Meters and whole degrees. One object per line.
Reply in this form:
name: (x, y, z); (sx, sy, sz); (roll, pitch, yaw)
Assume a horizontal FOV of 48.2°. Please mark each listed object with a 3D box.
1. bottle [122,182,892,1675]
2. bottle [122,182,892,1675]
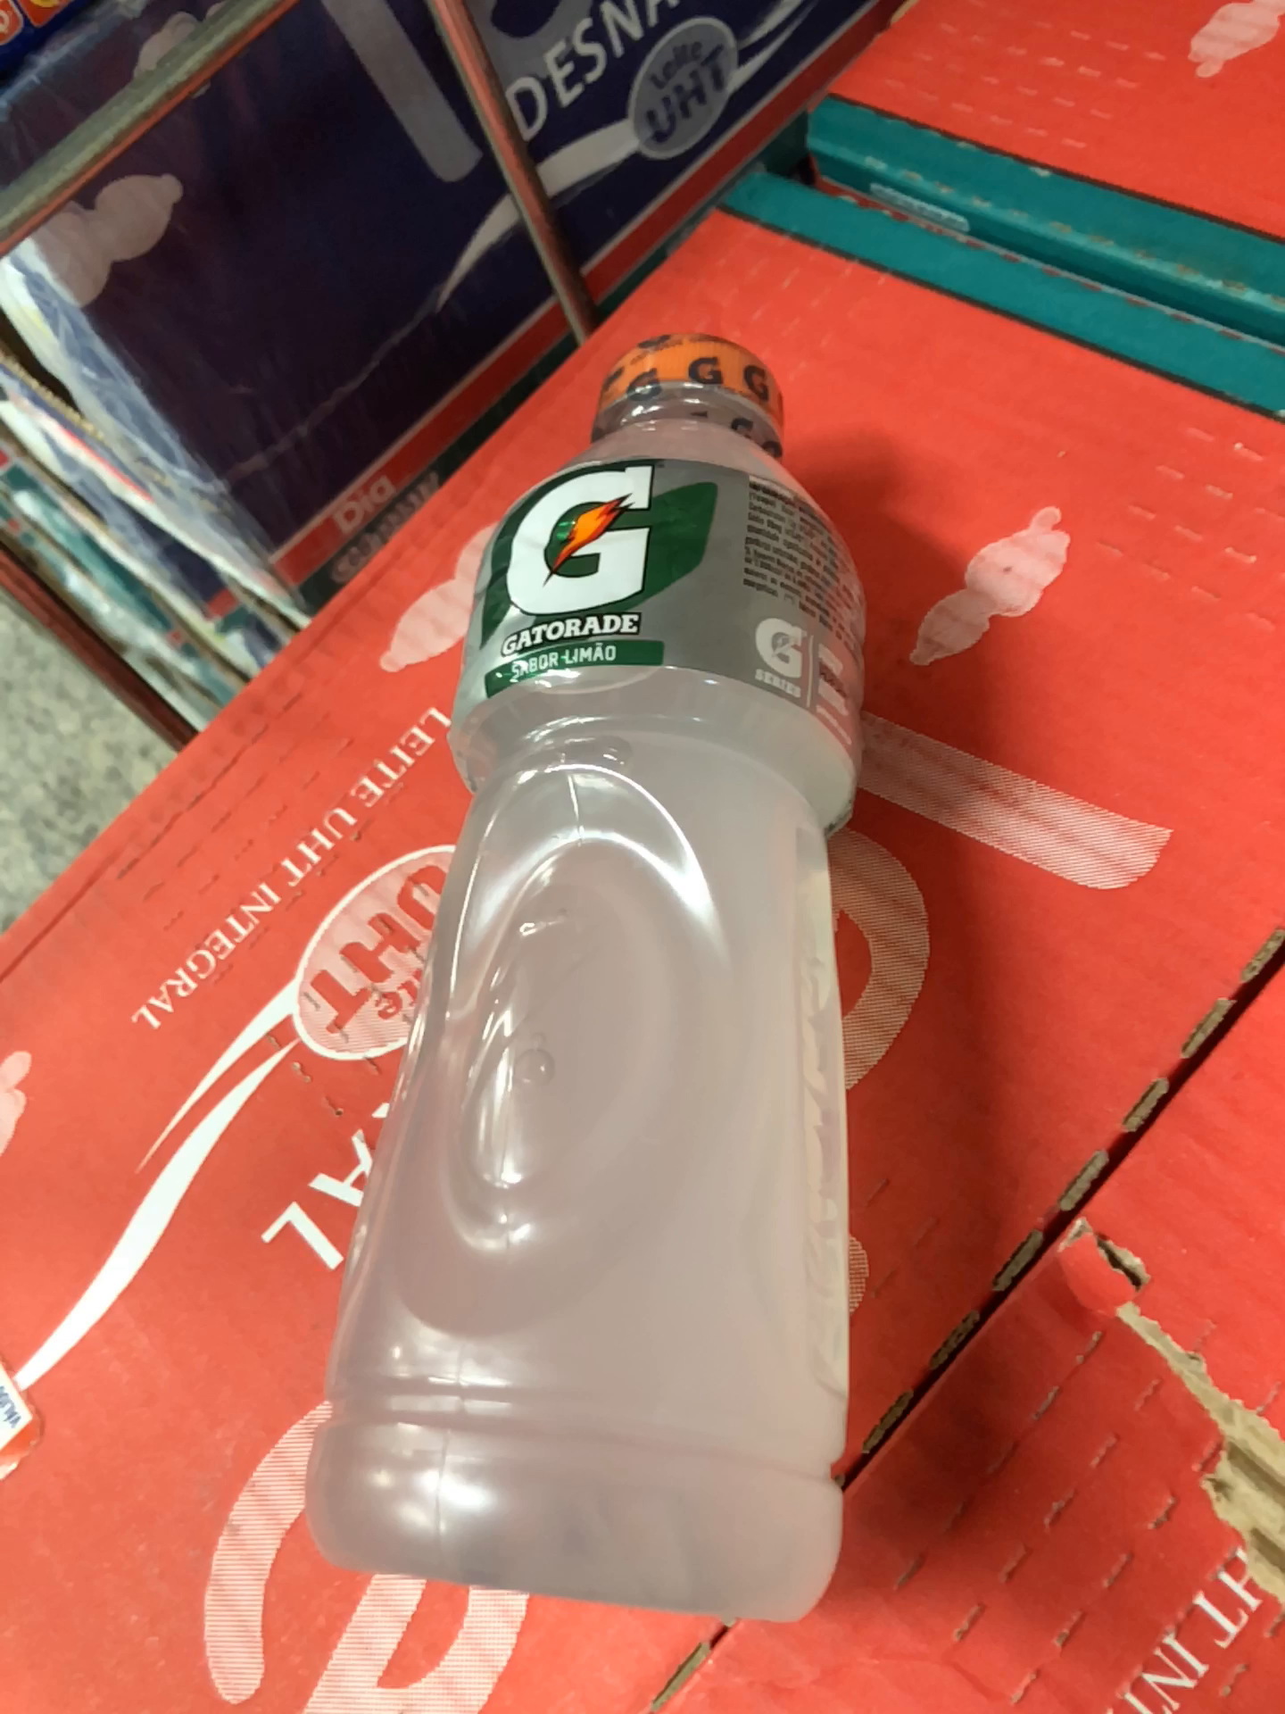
bottle: (-0.004, -0.001, 0.219); (0.070, 0.060, 0.211); (-4, 60, 19)
bottle: (-0.004, -0.001, 0.219); (0.070, 0.060, 0.211); (-4, 60, 19)
